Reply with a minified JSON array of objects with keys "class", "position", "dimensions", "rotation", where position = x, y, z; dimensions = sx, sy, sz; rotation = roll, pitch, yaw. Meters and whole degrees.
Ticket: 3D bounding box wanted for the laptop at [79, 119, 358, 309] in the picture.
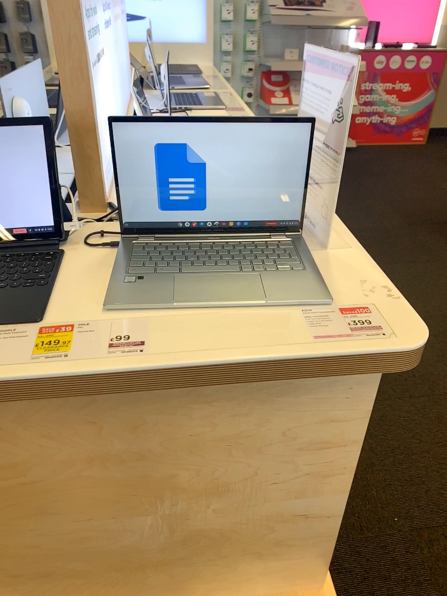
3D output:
[{"class":"laptop","position":[-0.013,-0.128,0.657],"dimensions":[0.317,0.195,0.205],"rotation":[-1,34,-4]}]
